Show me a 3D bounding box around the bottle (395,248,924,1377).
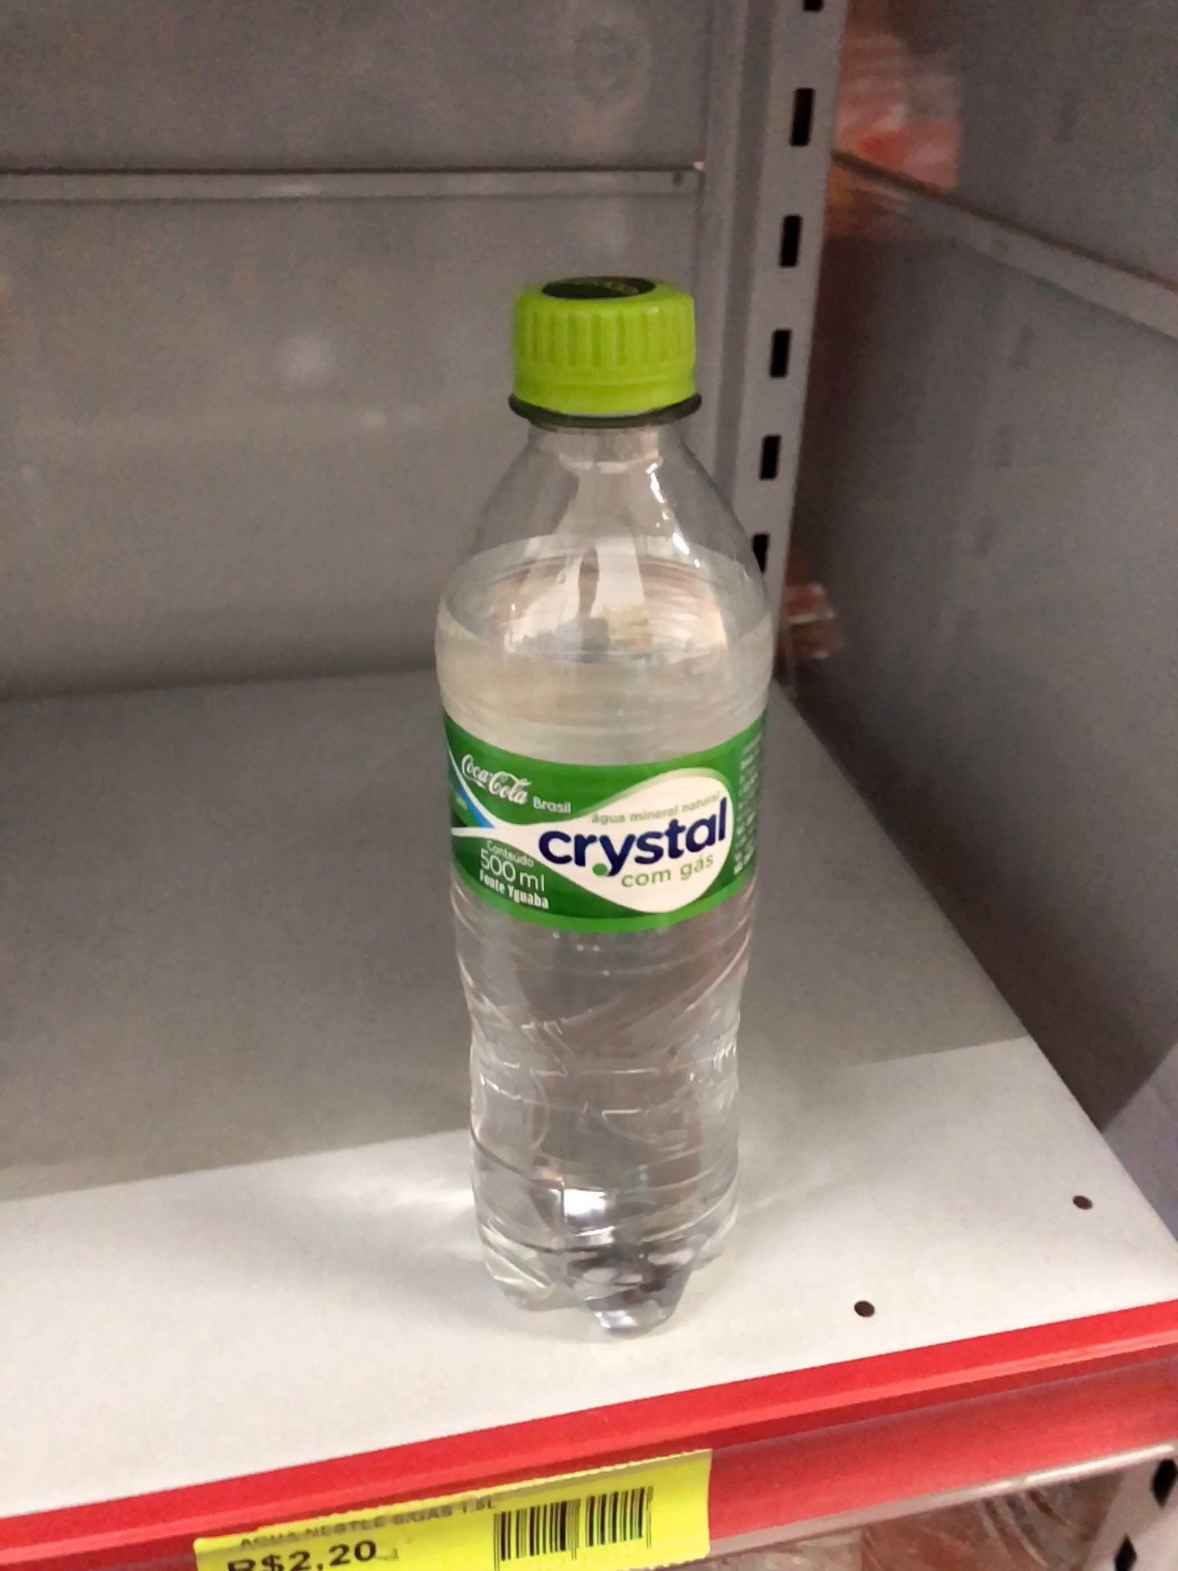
[{"bbox_3d":[0.004,0.017,0.256,0.070,0.218,0.060,-4,32,-8],"label":"bottle"}]
